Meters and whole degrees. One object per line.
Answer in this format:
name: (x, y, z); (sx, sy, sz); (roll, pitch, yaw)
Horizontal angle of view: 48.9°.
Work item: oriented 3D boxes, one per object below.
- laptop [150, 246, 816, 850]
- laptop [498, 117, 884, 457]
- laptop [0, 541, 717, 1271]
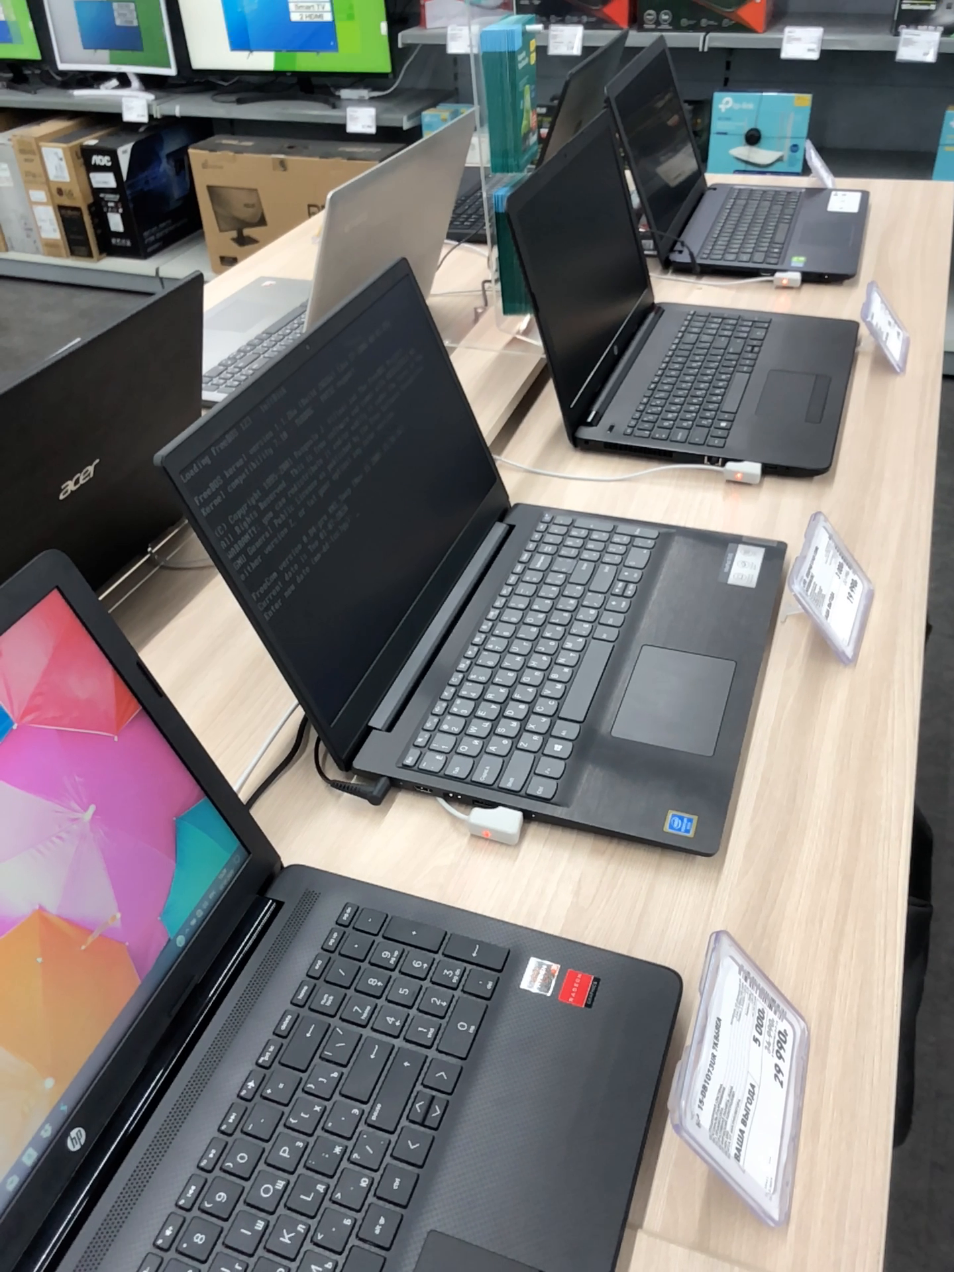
laptop: (0.034, -0.090, 0.718); (0.321, 0.210, 0.342); (11, 40, 16)
laptop: (0.224, -0.368, 1.058); (0.297, 0.208, 0.339); (11, 39, 15)
laptop: (-0.108, 0.169, 0.388); (0.320, 0.202, 0.353); (11, 39, 16)
